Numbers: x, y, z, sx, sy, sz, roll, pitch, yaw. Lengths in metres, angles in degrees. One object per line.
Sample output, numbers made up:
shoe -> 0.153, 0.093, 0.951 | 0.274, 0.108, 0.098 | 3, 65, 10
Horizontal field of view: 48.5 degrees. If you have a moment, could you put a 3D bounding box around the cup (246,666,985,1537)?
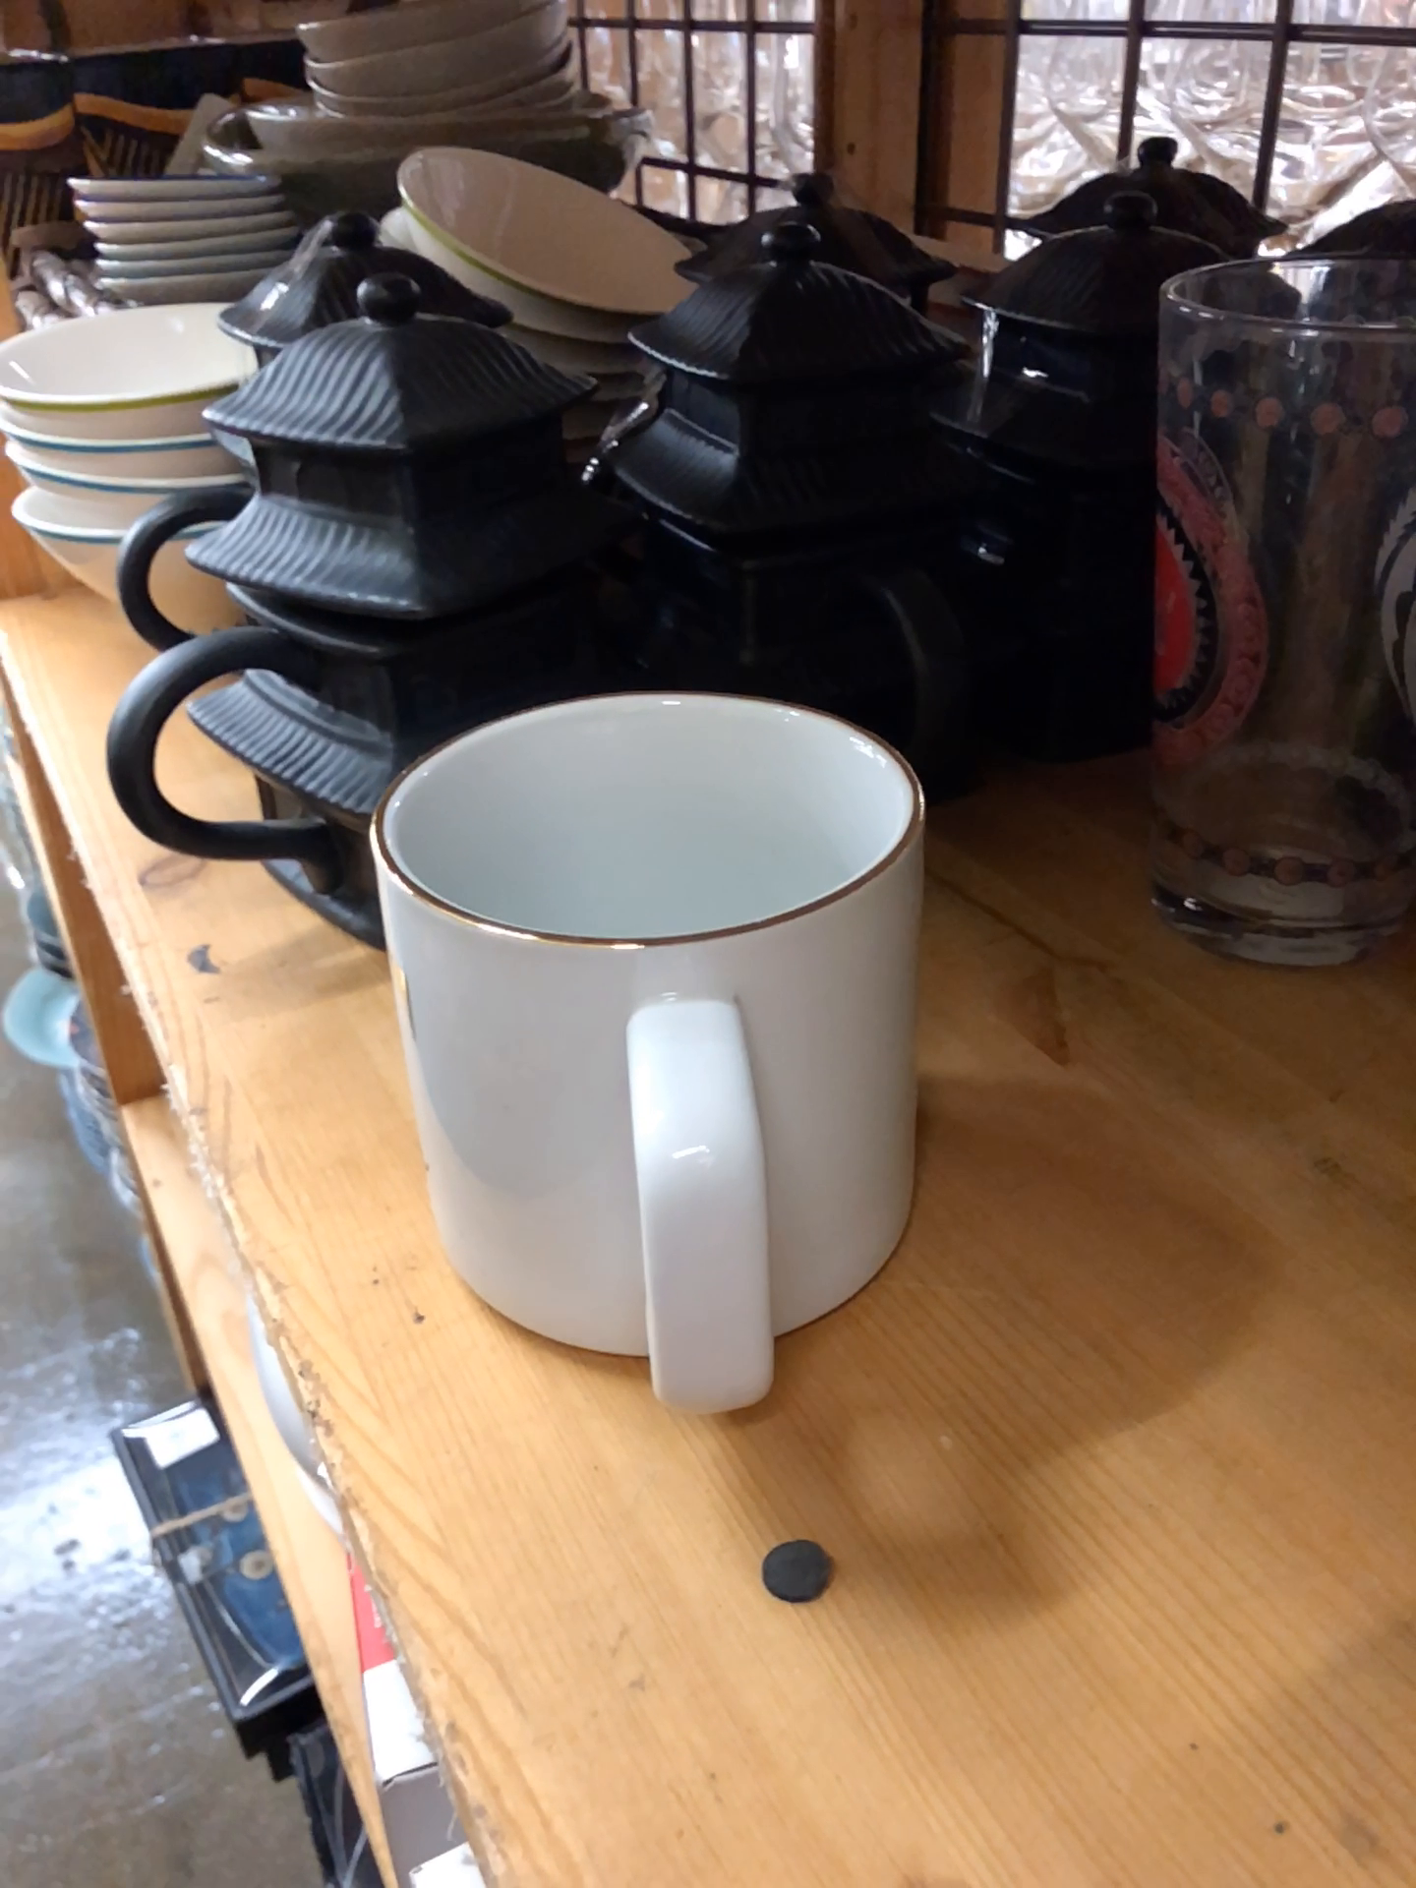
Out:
cup -> -0.010, 0.018, 0.262 | 0.088, 0.084, 0.123 | -2, 31, 1

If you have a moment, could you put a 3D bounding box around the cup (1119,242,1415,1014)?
cup -> 0.134, -0.070, 0.336 | 0.079, 0.134, 0.093 | 5, 32, 12

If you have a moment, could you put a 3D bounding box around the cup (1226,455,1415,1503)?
cup -> 0.142, -0.002, 0.226 | 0.078, 0.104, 0.093 | -12, 32, -15
